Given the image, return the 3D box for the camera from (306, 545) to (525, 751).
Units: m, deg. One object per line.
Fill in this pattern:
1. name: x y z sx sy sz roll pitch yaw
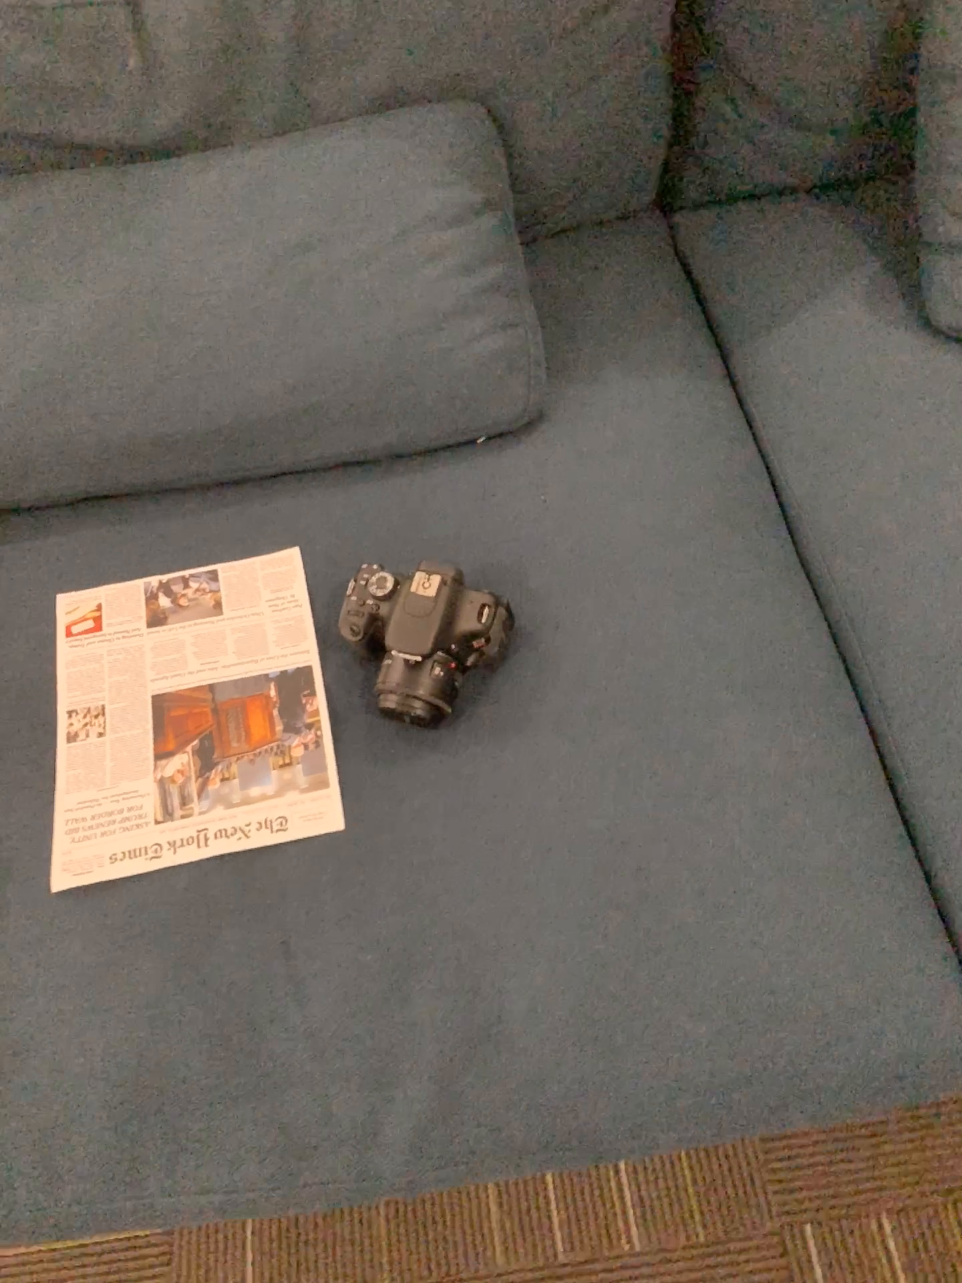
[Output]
1. camera: -0.045 0.006 0.751 0.120 0.100 0.108 13 74 15
